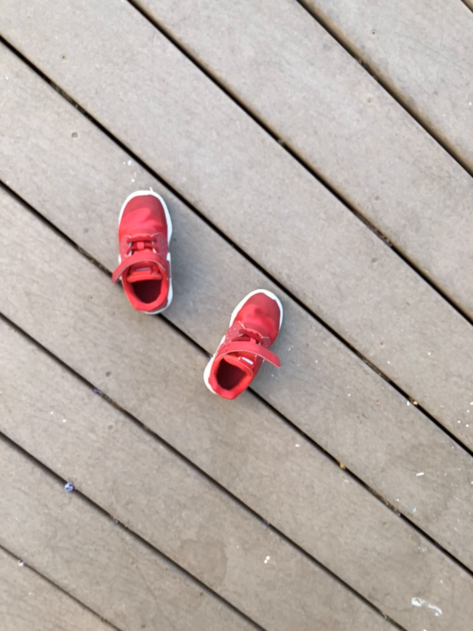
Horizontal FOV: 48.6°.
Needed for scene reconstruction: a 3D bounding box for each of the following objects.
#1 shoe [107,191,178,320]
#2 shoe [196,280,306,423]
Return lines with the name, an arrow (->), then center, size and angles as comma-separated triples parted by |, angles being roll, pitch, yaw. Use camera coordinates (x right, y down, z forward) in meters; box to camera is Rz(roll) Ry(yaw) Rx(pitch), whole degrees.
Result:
shoe -> -0.116, -0.077, 0.669 | 0.073, 0.069, 0.153 | -2, 100, -3
shoe -> 0.016, 0.045, 0.696 | 0.069, 0.069, 0.164 | 28, 98, -8
